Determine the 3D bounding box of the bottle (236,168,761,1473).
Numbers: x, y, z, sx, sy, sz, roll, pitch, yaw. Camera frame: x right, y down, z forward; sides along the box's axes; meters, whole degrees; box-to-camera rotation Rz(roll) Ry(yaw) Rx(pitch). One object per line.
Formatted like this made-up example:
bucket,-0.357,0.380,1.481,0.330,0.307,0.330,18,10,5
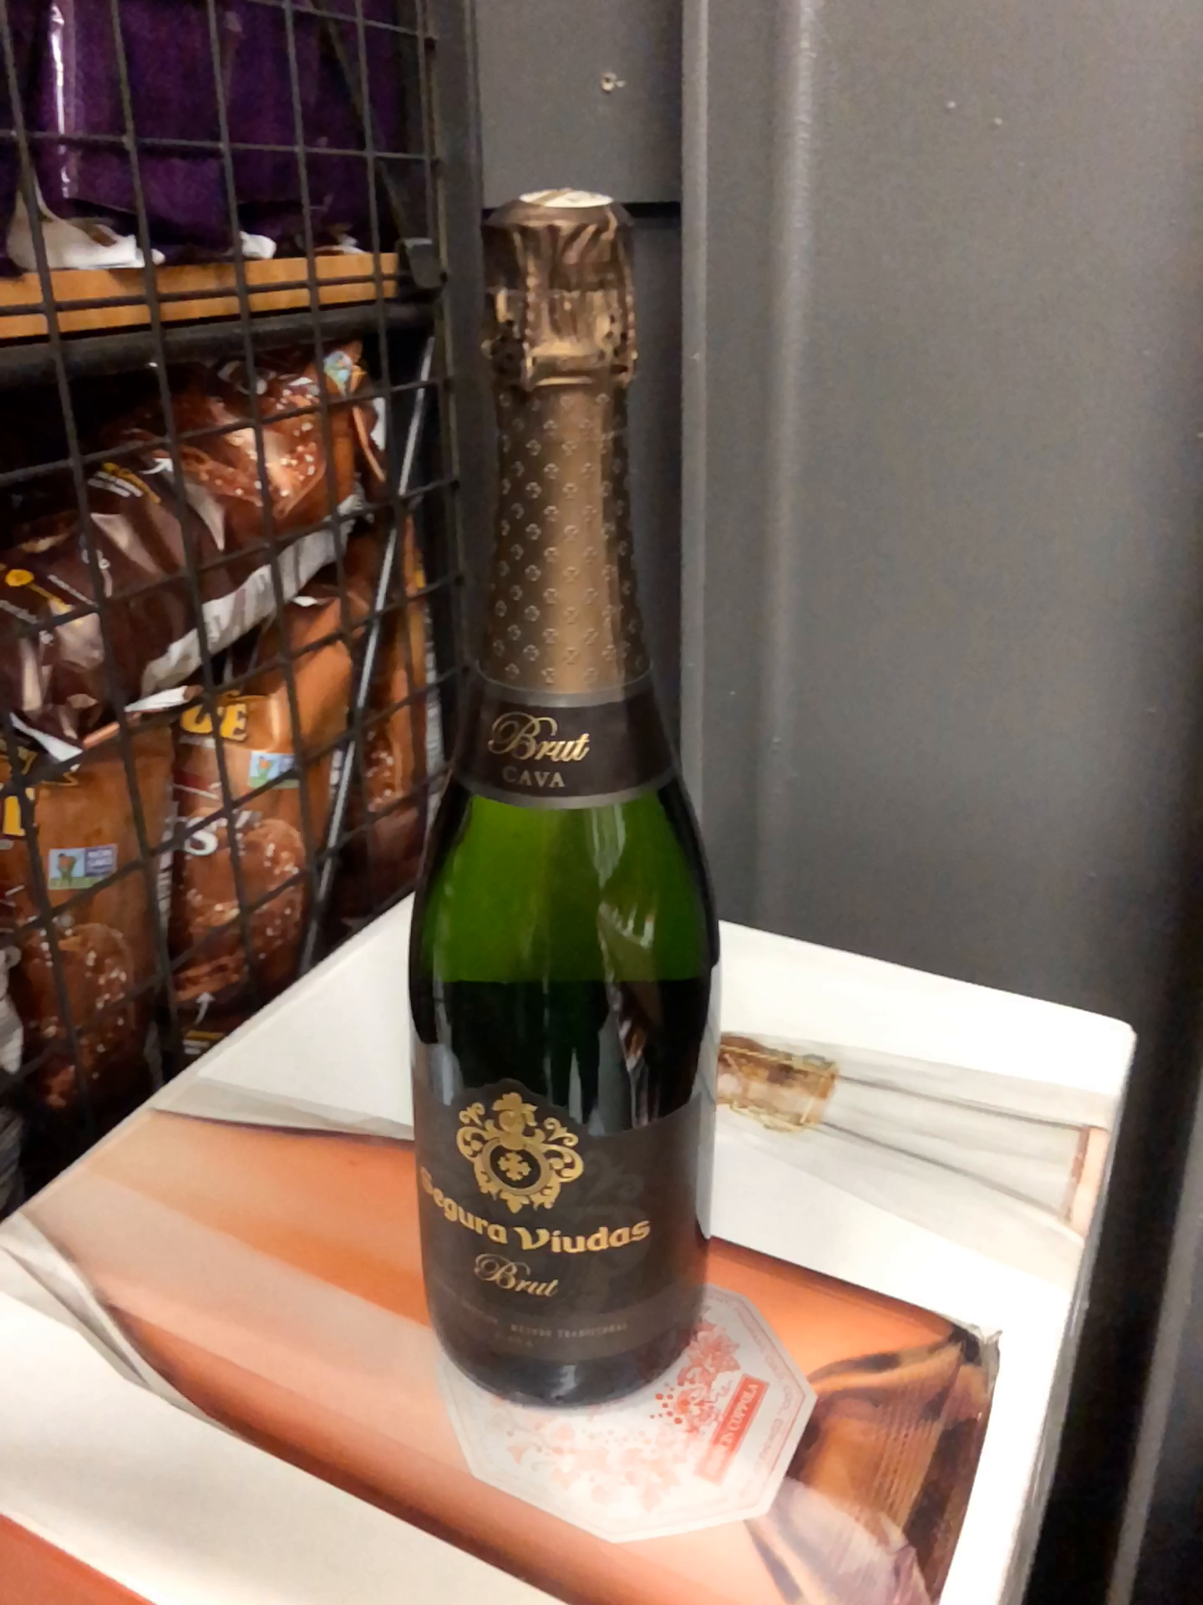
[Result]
bottle,-0.014,0.014,0.355,0.090,0.326,0.084,-1,23,1
